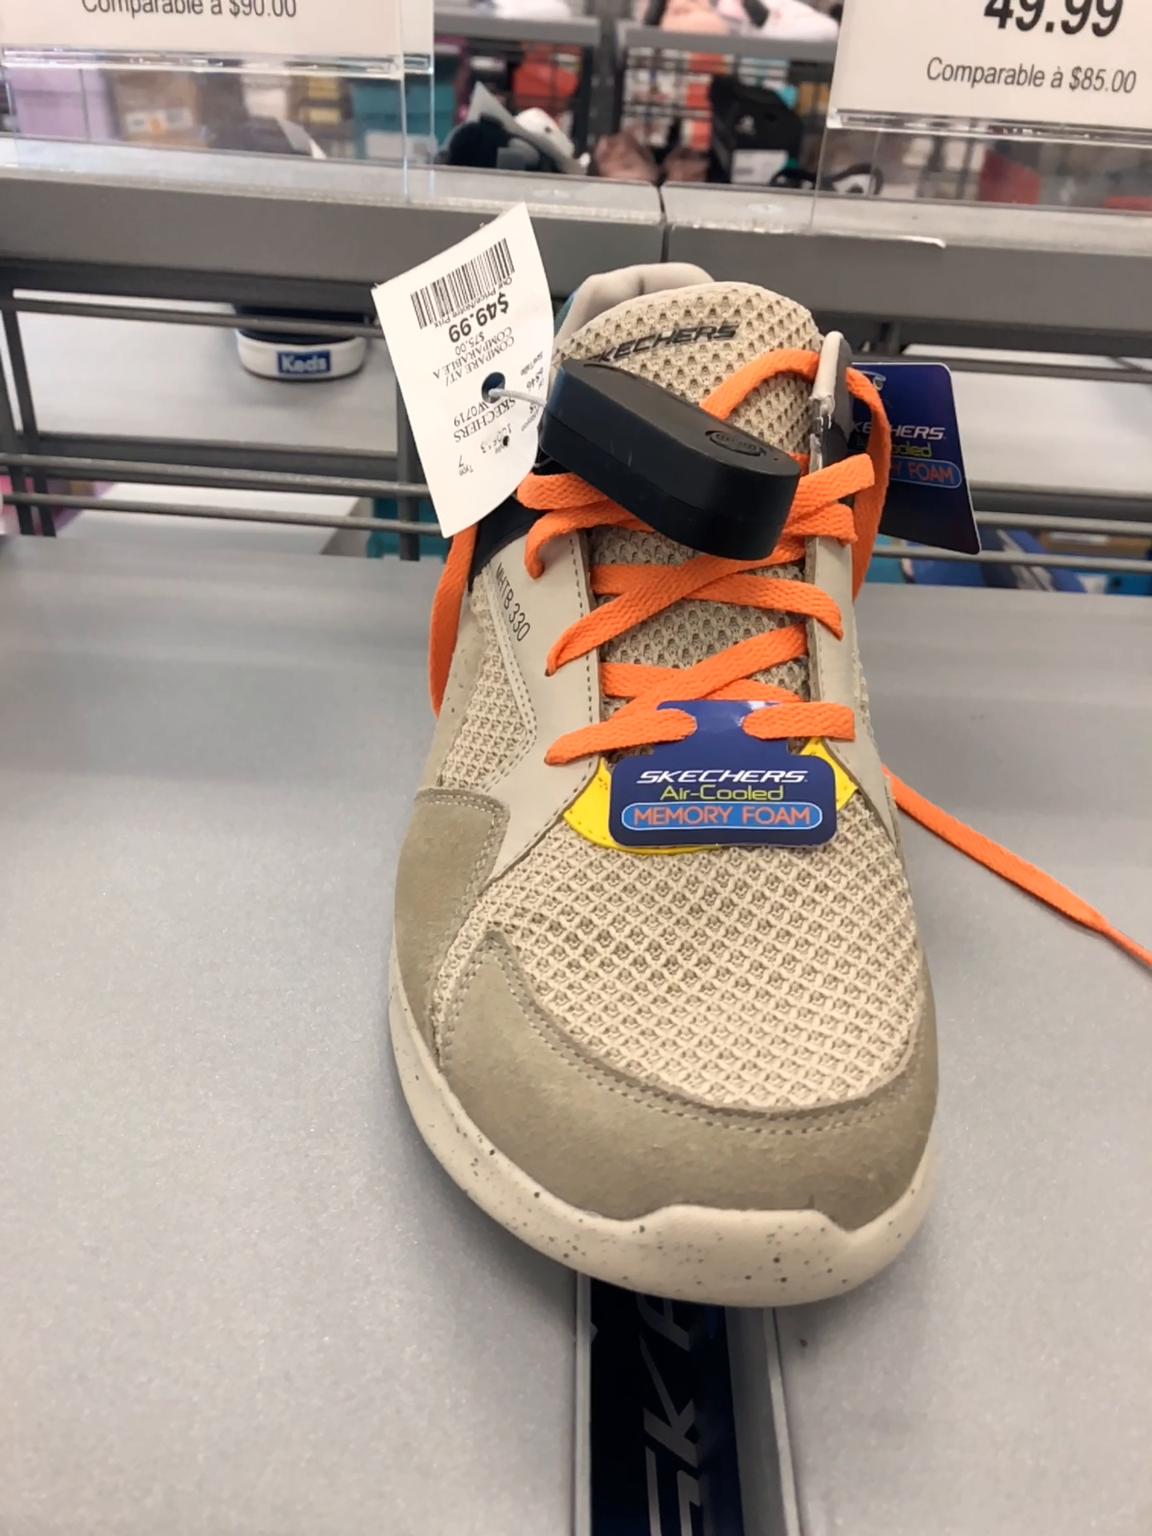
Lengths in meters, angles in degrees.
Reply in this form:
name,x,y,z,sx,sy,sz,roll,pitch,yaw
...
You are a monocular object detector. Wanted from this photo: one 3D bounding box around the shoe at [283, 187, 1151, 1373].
name,x,y,z,sx,sy,sz,roll,pitch,yaw
shoe,0.018,-0.031,0.290,0.125,0.109,0.282,1,39,-5
